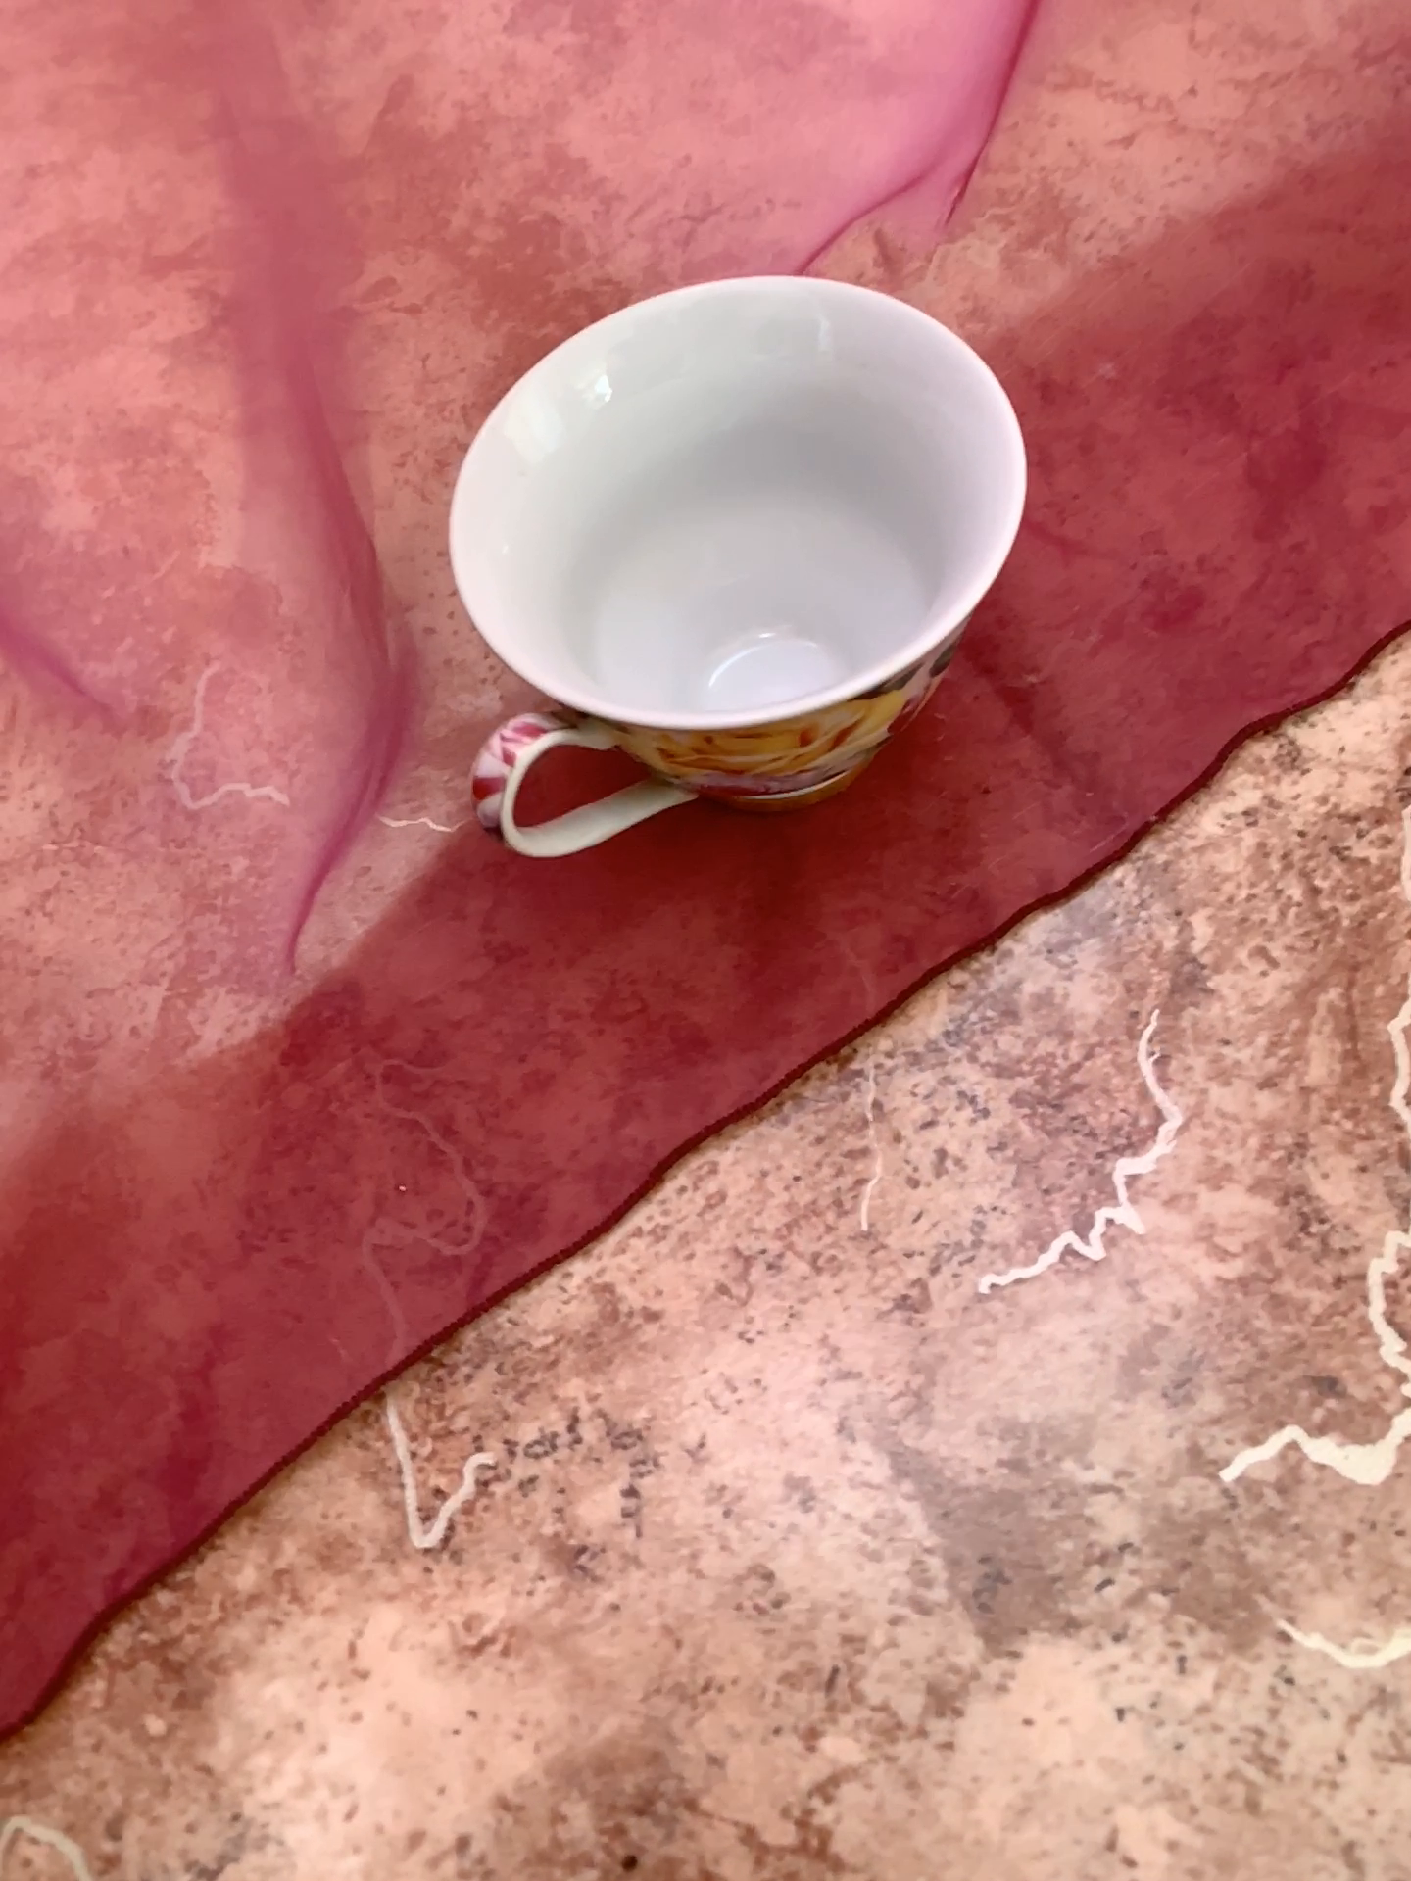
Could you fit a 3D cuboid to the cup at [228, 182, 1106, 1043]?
[{"bbox_3d":[-0.003,-0.055,0.246,0.109,0.061,0.078,-38,64,-9],"label":"cup"}]
